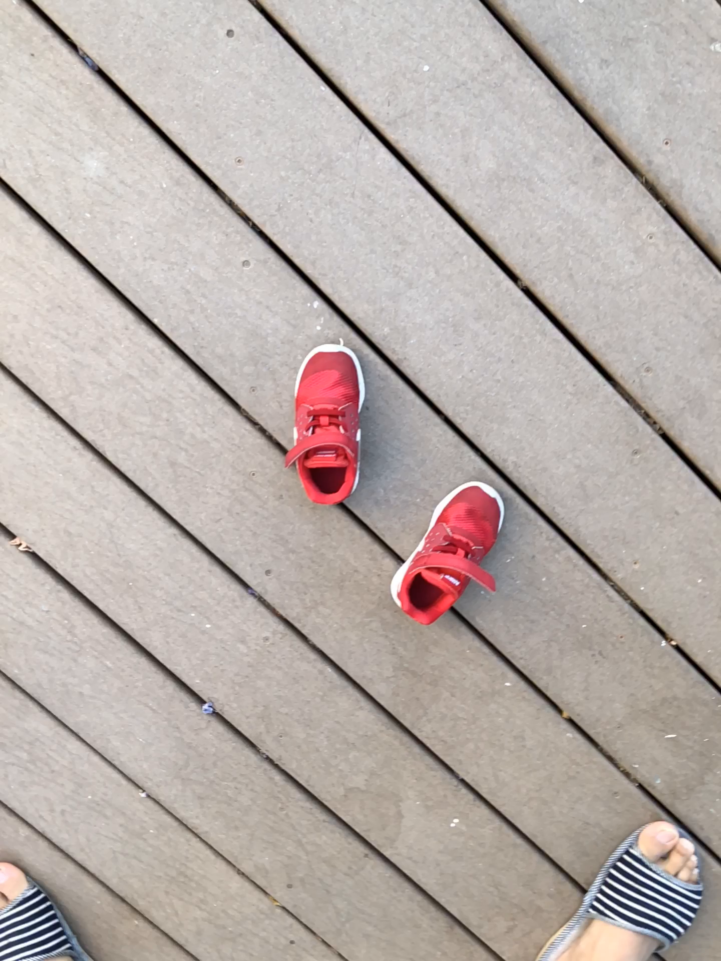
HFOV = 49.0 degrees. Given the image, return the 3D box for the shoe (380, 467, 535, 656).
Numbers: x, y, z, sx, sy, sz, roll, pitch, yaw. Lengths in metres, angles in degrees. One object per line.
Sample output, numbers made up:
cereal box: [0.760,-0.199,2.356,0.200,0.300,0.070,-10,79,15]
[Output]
shoe: [0.093,0.080,0.794,0.069,0.069,0.164,31,104,-6]

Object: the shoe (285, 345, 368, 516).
shoe: [-0.032,-0.050,0.766,0.073,0.069,0.153,2,105,1]
